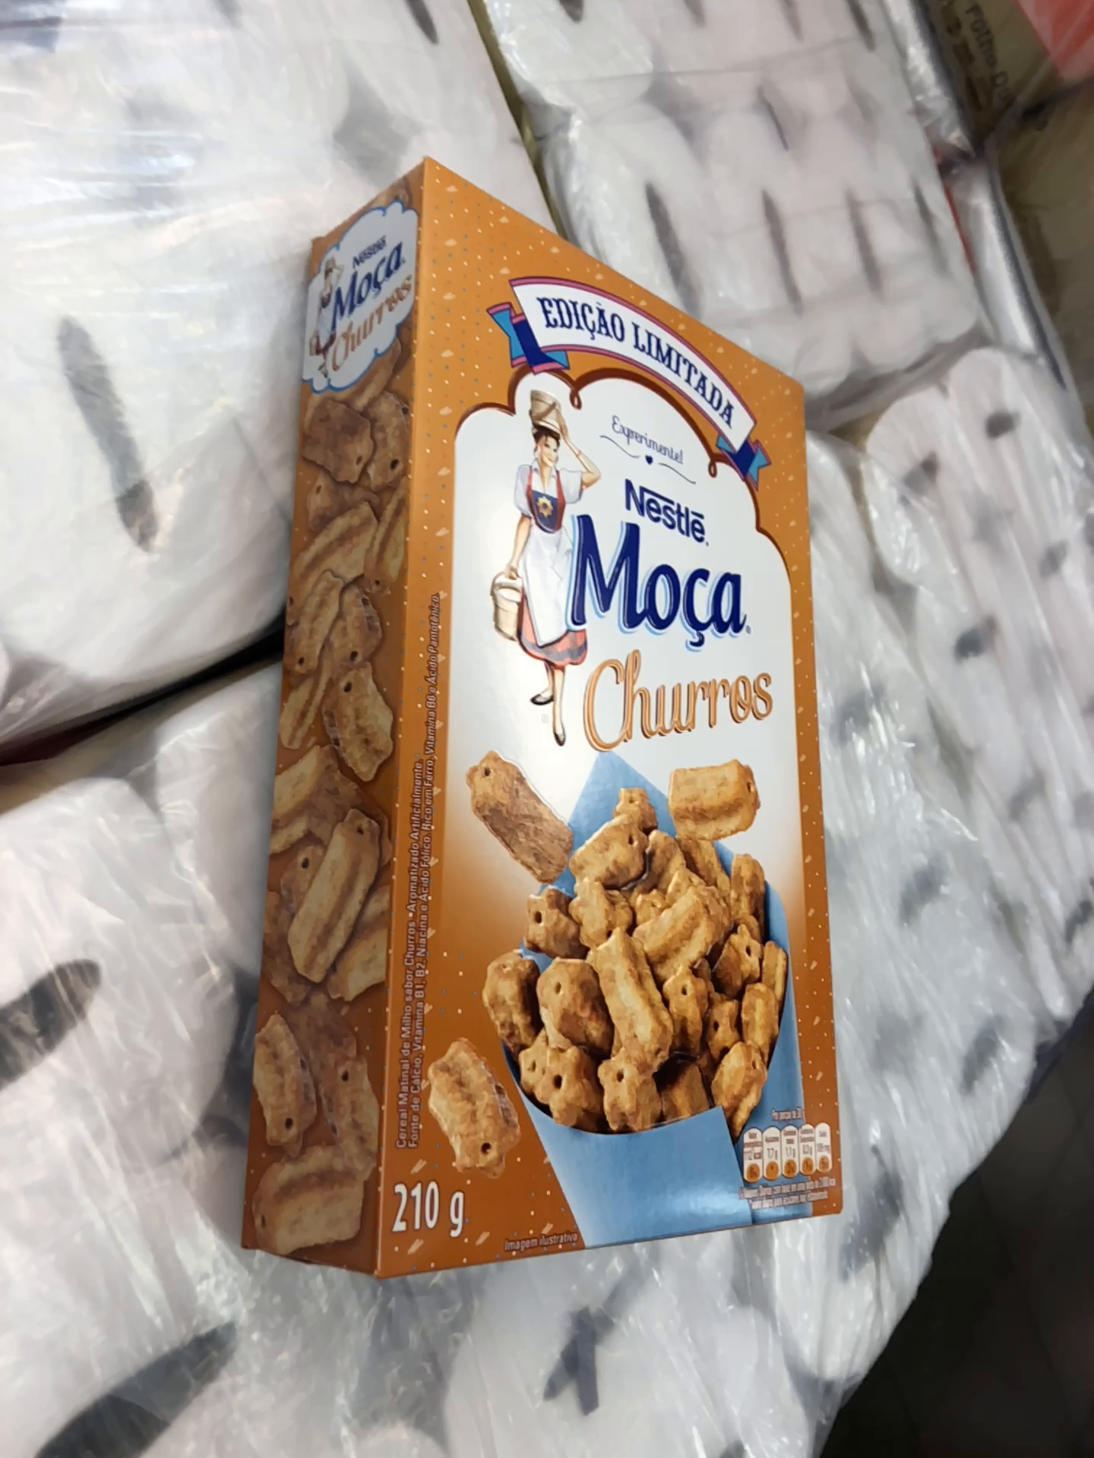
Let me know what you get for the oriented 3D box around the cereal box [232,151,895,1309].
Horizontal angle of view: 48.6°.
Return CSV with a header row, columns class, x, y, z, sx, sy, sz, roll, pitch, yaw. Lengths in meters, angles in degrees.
class,x,y,z,sx,sy,sz,roll,pitch,yaw
cereal box,0.016,0.005,0.318,0.171,0.050,0.240,14,70,-42
